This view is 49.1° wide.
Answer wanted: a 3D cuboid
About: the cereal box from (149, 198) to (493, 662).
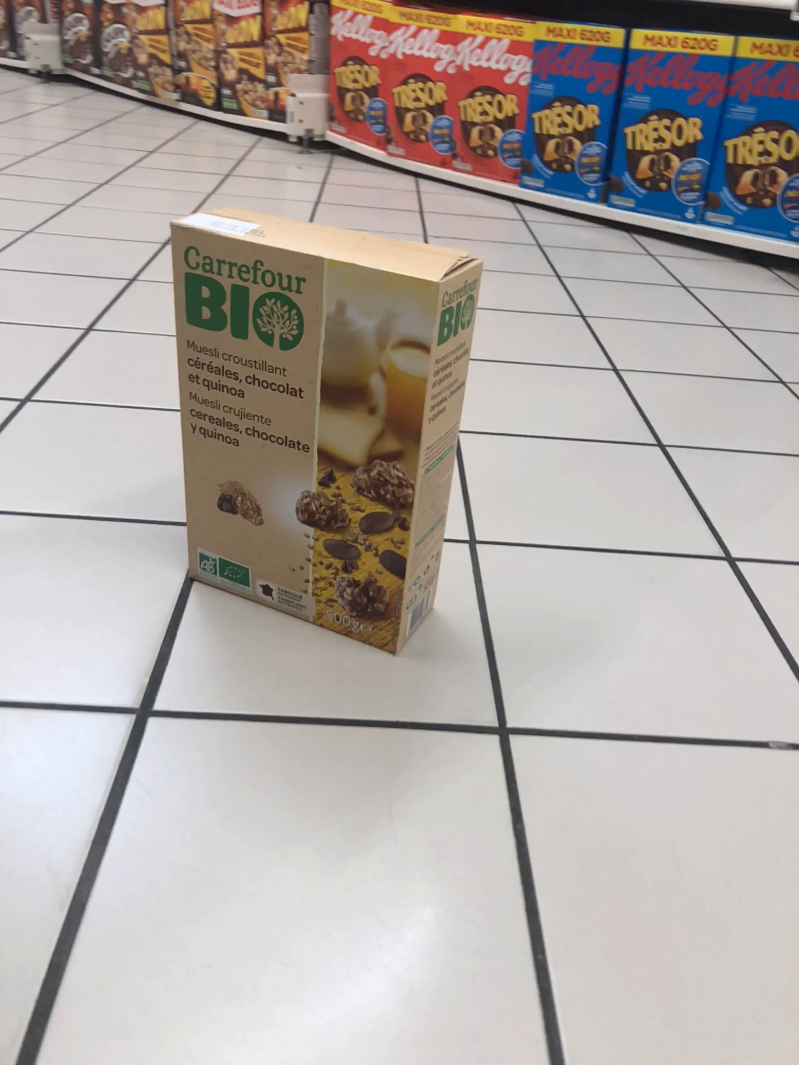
[{"bbox_3d":[-0.052,-0.061,0.521,0.170,0.229,0.070,18,32,20],"label":"cereal box"}]
